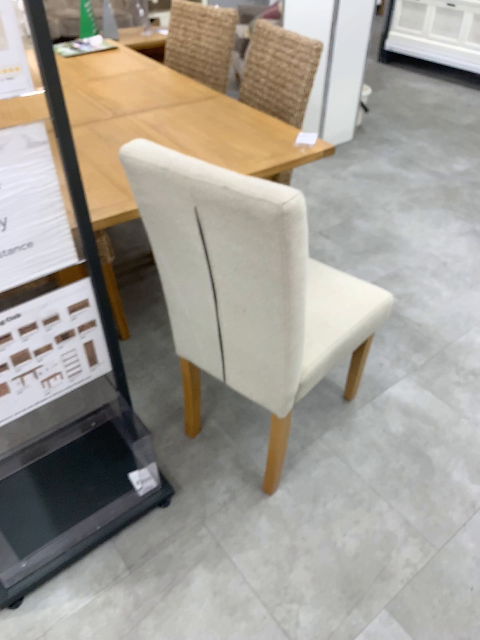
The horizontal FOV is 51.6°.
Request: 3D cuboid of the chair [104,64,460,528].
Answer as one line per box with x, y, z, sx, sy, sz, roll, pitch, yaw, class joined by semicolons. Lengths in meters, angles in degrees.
0.113;-0.057;1.230;0.421;0.871;0.614;25;47;25;chair
